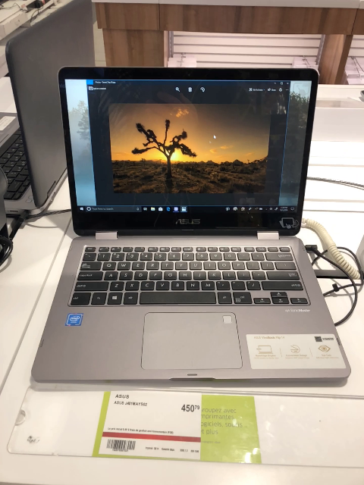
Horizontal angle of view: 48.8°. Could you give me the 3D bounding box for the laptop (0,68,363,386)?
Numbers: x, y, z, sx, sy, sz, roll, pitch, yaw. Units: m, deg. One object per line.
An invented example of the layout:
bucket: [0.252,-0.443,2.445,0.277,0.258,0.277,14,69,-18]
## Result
laptop: [0.011,-0.038,0.444,0.319,0.211,0.291,-1,40,-2]
